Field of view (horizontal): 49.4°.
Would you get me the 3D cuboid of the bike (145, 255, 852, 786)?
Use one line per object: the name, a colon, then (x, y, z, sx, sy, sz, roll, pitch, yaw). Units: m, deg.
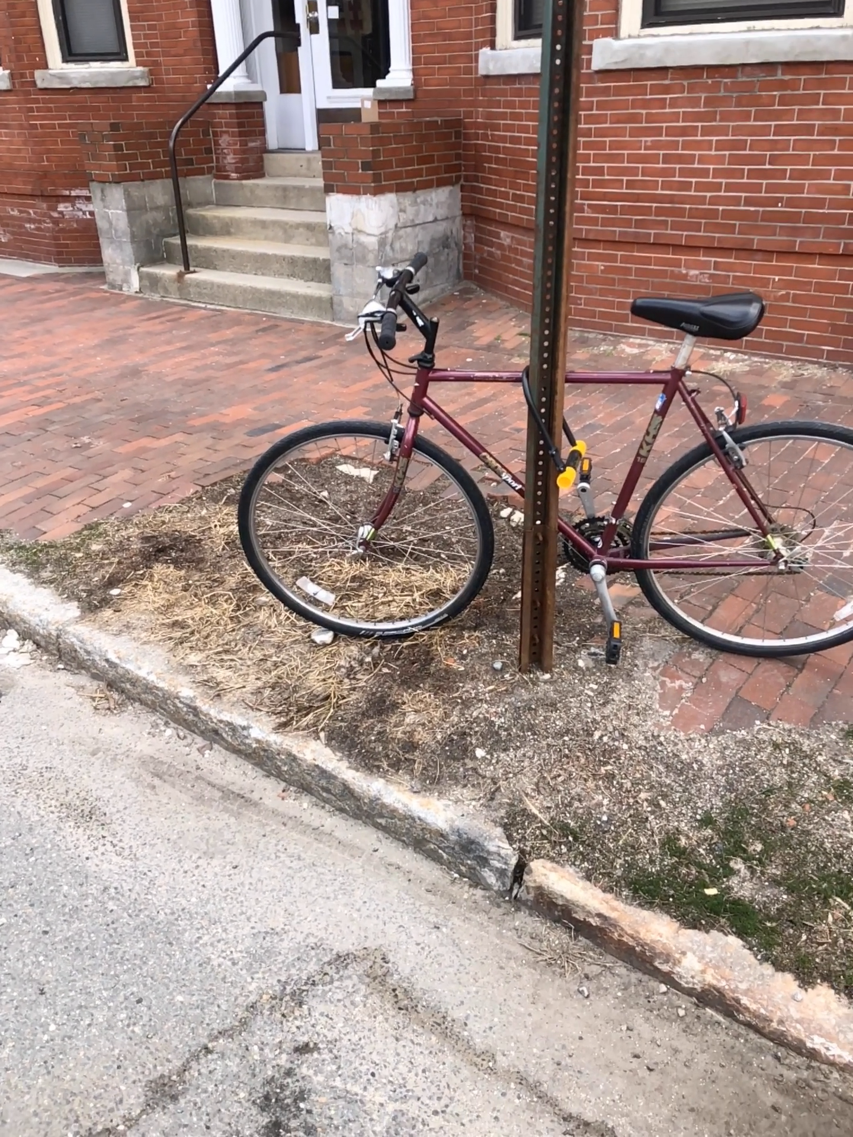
bike: (0.348, -0.180, 2.250, 1.726, 1.012, 0.672, 3, 27, 10)
